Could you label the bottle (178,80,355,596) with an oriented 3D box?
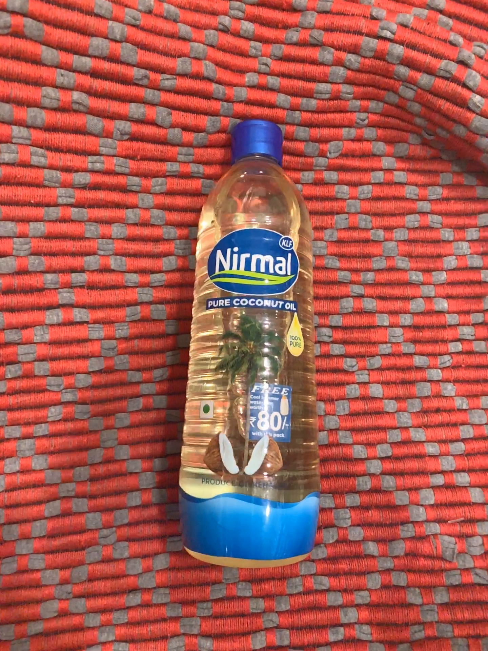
[{"bbox_3d":[0.011,0.001,0.221,0.060,0.050,0.200,3,80,-1],"label":"bottle"}]
